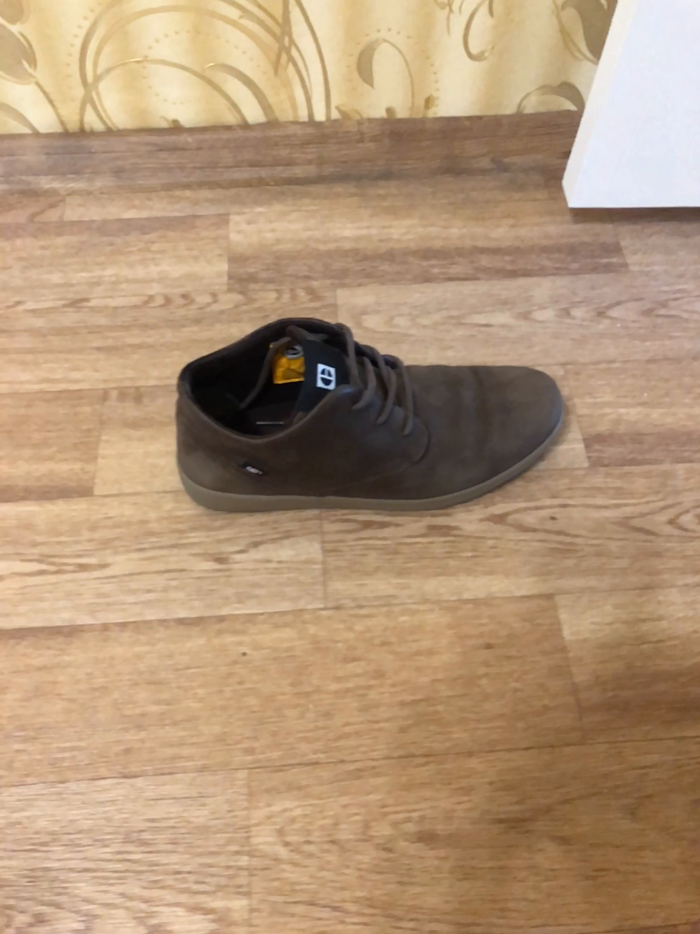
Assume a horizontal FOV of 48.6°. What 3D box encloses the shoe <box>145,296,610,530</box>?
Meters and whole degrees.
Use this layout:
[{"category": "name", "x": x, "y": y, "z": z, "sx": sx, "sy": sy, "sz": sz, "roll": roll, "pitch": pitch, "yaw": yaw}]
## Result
[{"category": "shoe", "x": 0.013, "y": -0.034, "z": 0.516, "sx": 0.270, "sy": 0.100, "sz": 0.100, "roll": -4, "pitch": 59, "yaw": -3}]
